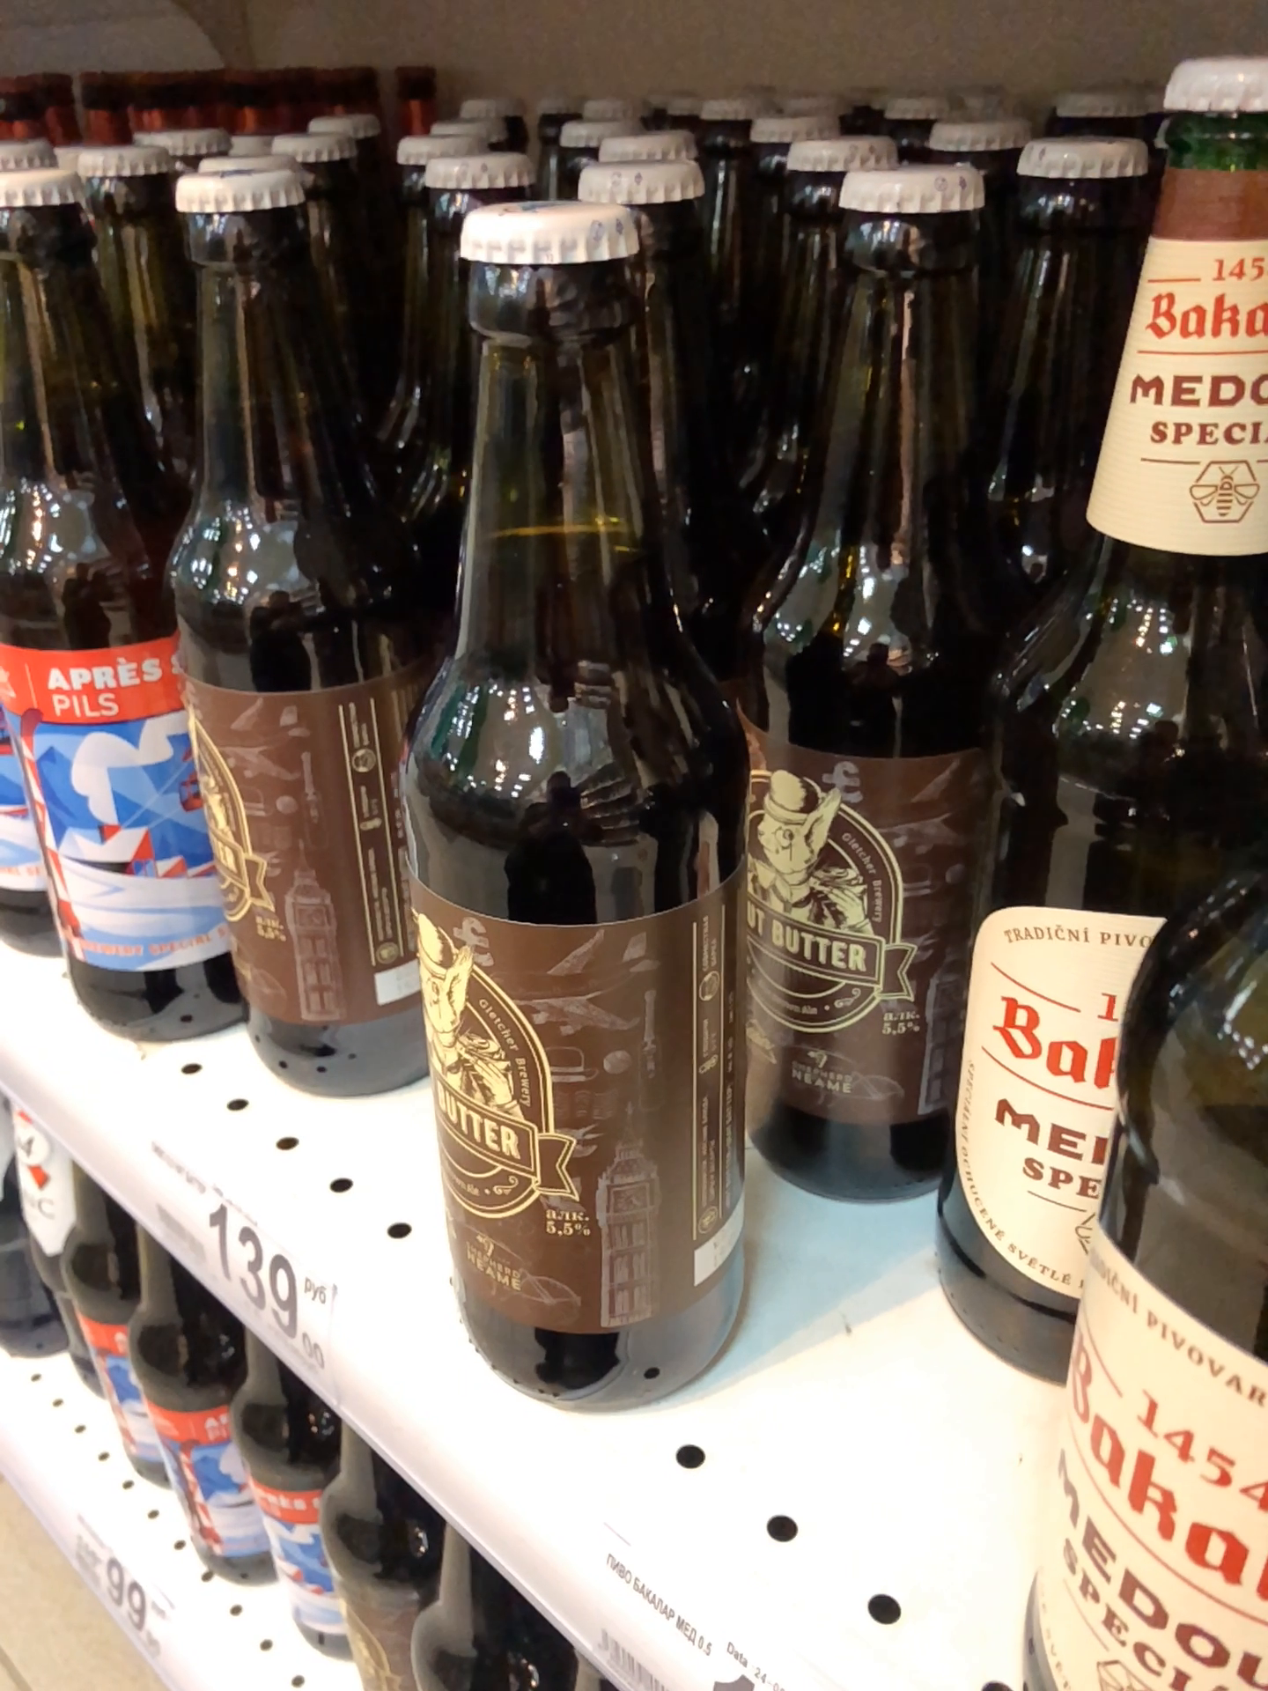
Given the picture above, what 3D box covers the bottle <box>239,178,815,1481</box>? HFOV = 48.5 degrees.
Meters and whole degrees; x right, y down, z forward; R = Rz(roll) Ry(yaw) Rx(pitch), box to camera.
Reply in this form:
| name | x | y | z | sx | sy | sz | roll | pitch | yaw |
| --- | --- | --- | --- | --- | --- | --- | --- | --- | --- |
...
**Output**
| name | x | y | z | sx | sy | sz | roll | pitch | yaw |
| --- | --- | --- | --- | --- | --- | --- | --- | --- | --- |
| bottle | -0.014 | 0.005 | 0.277 | 0.060 | 0.240 | 0.070 | -23 | 35 | -33 |
